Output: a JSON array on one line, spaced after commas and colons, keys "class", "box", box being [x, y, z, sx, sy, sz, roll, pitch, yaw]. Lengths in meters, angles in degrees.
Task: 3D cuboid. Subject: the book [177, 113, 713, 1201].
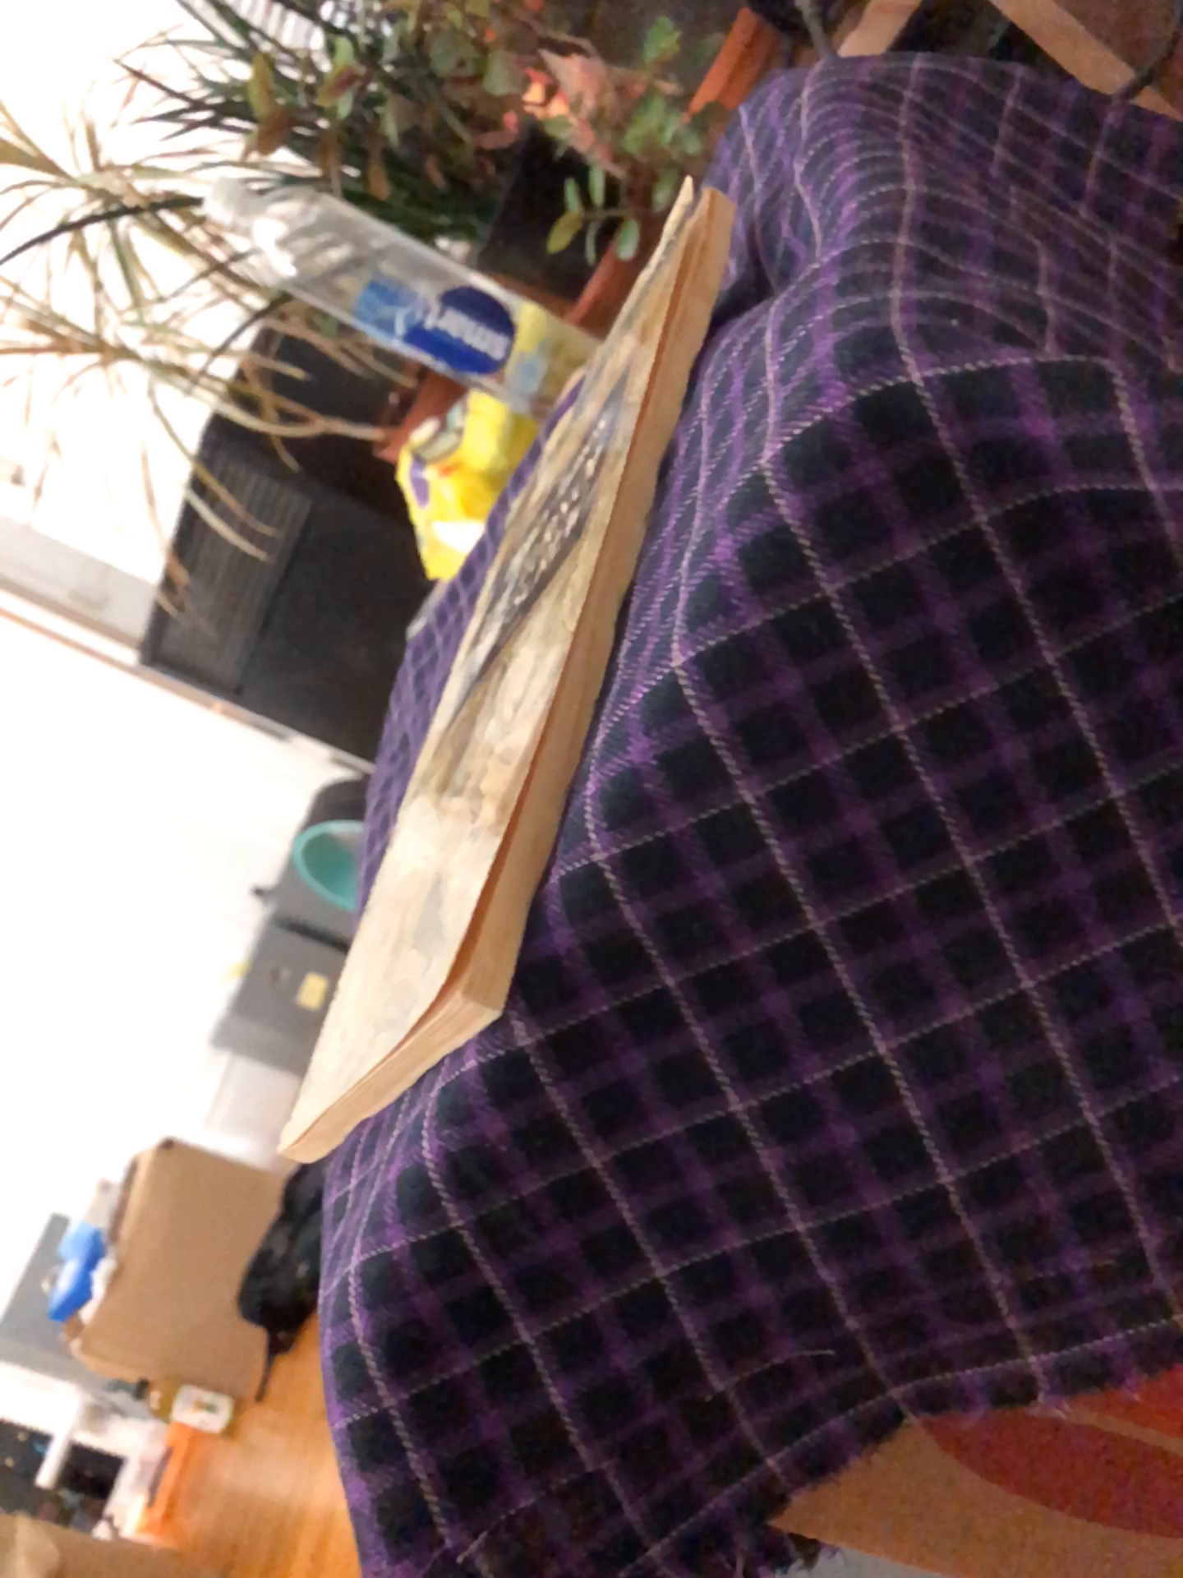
[{"class": "book", "box": [-0.032, -0.029, 0.292, 0.140, 0.010, 0.220, -45, 25, 54]}]
